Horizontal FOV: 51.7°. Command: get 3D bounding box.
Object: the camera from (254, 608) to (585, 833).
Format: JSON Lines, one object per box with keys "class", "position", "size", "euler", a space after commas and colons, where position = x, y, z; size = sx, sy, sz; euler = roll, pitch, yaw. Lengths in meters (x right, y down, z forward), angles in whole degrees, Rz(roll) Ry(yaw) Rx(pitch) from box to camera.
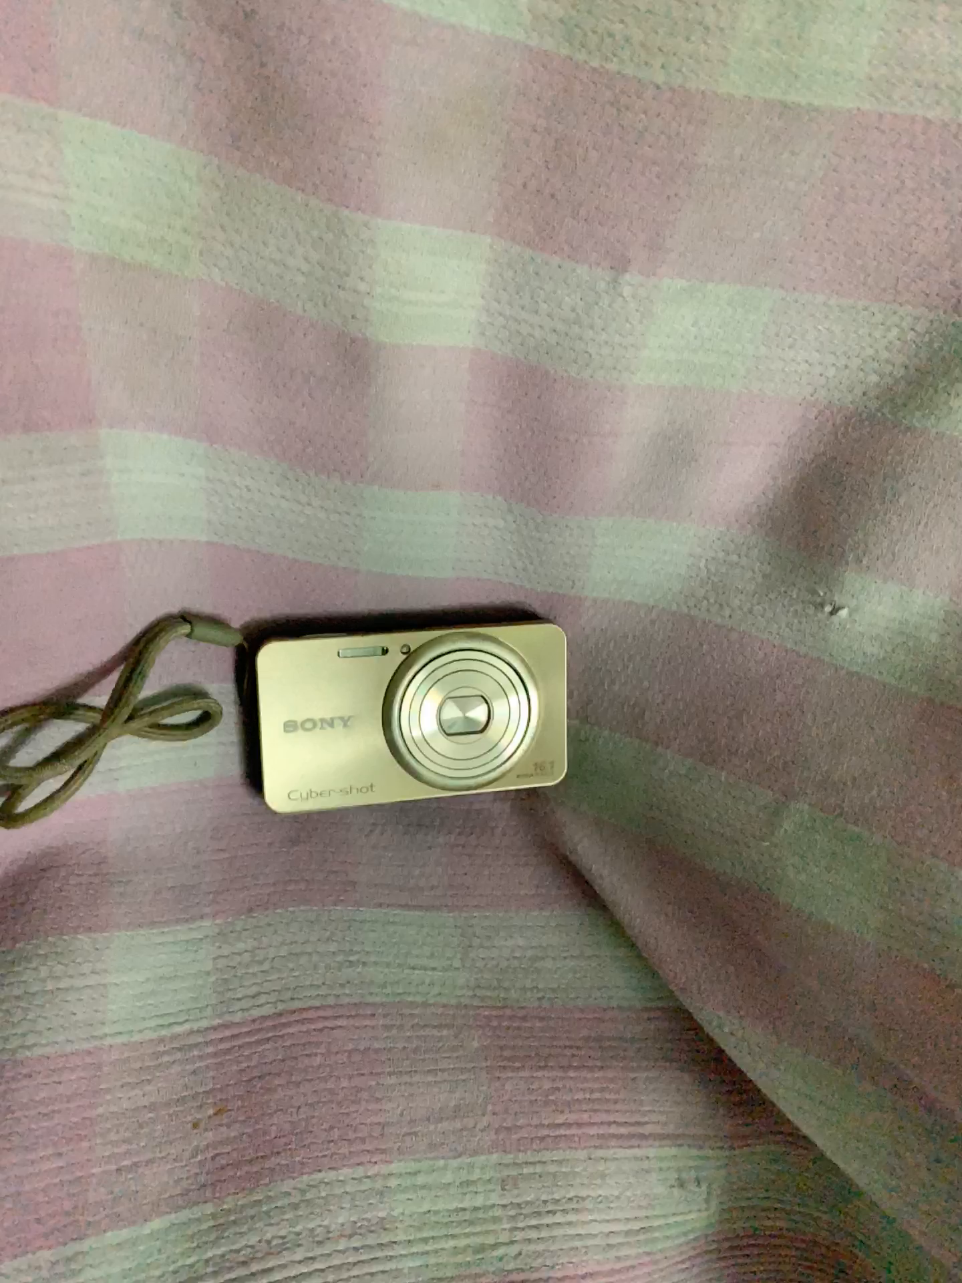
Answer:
{"class": "camera", "position": [-0.018, 0.021, 0.292], "size": [0.091, 0.027, 0.053], "euler": [-4, 100, -13]}
